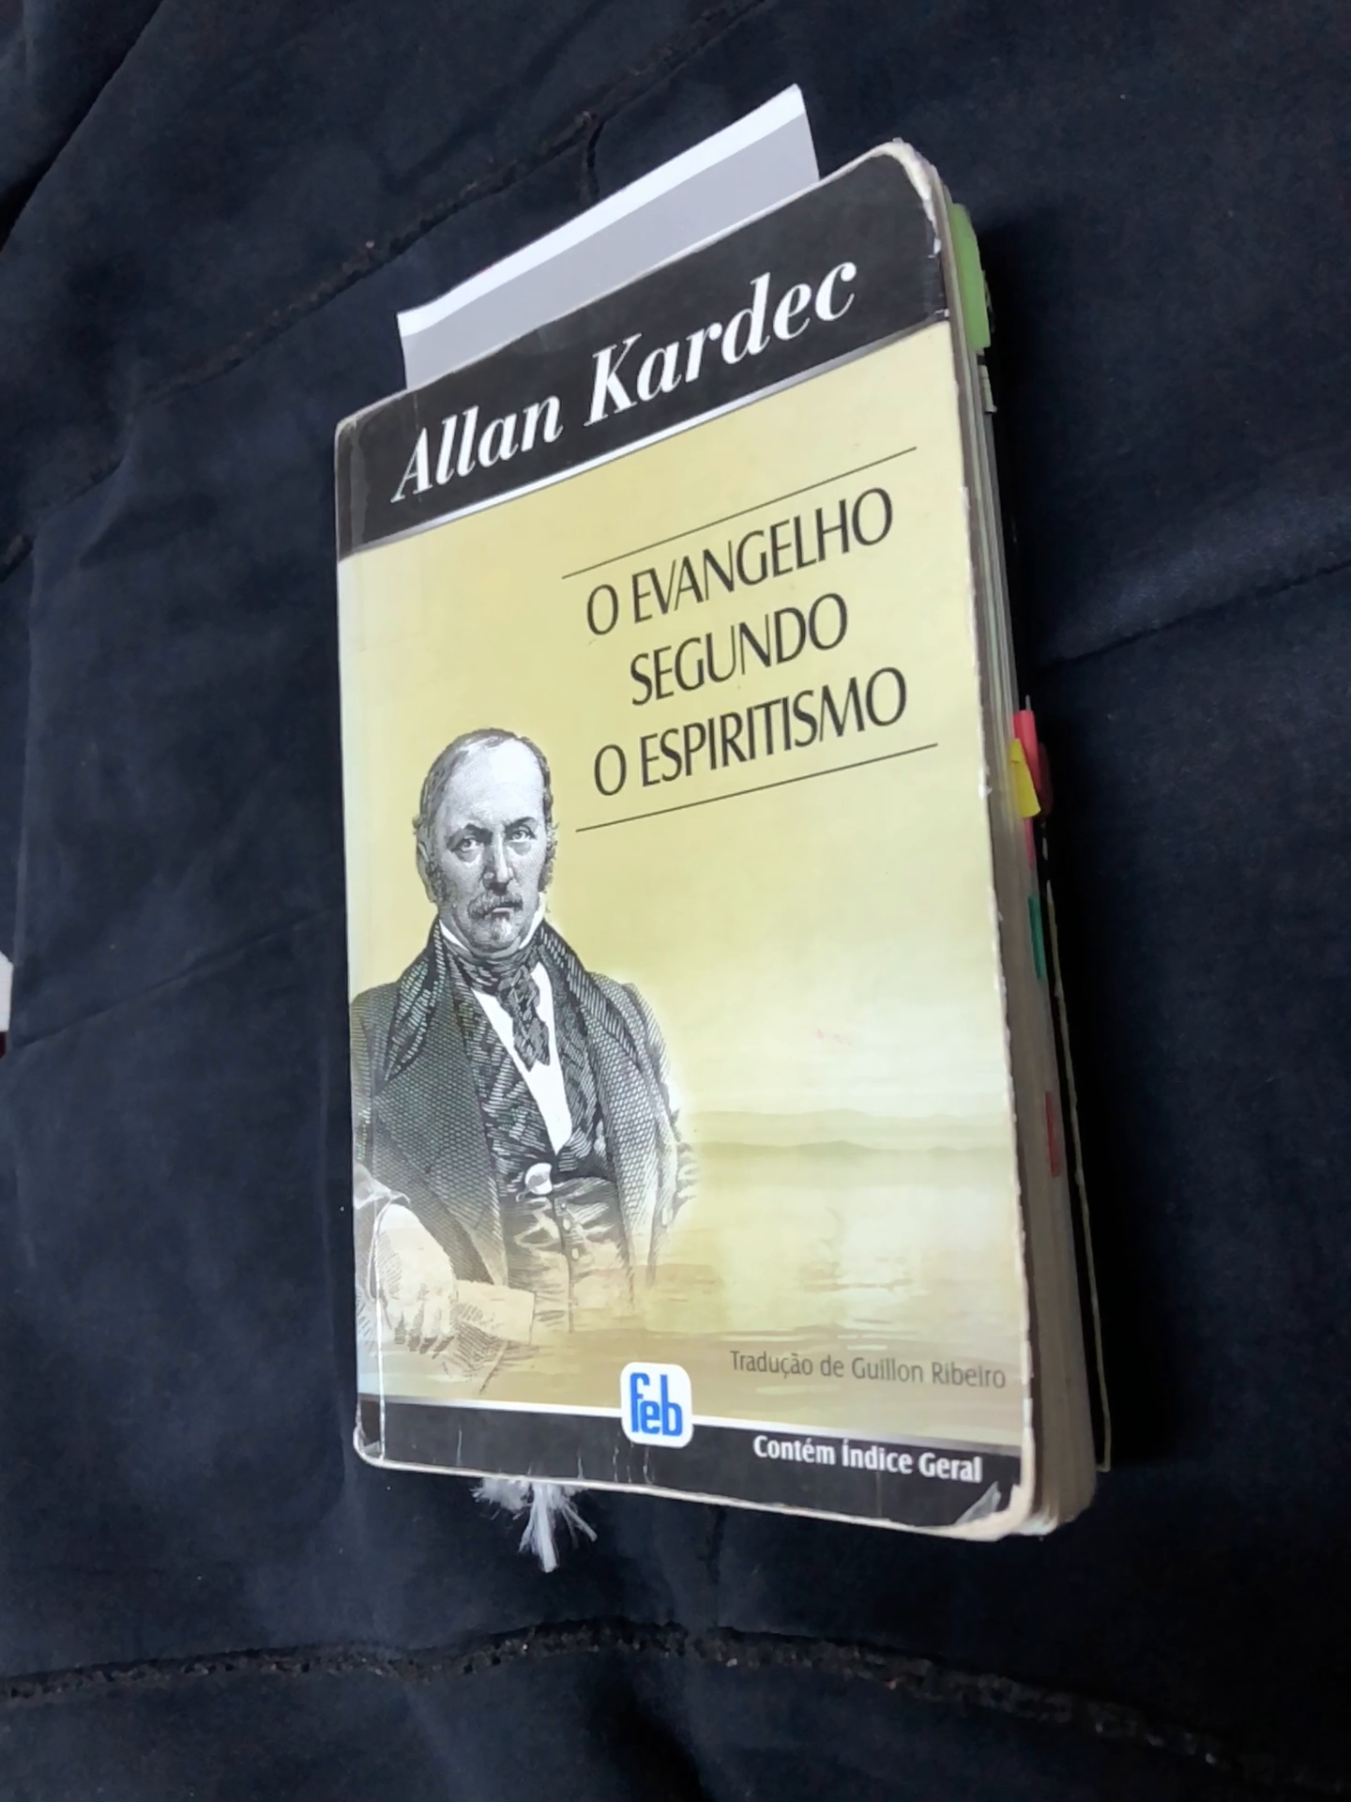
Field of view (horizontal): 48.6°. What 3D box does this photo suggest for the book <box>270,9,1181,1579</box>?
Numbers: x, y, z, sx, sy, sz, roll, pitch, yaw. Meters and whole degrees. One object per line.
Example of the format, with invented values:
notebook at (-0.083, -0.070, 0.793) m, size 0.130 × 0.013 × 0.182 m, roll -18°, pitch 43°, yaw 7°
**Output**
book at (-0.006, -0.011, 0.269) m, size 0.151 × 0.050 × 0.220 m, roll -12°, pitch 76°, yaw 38°
